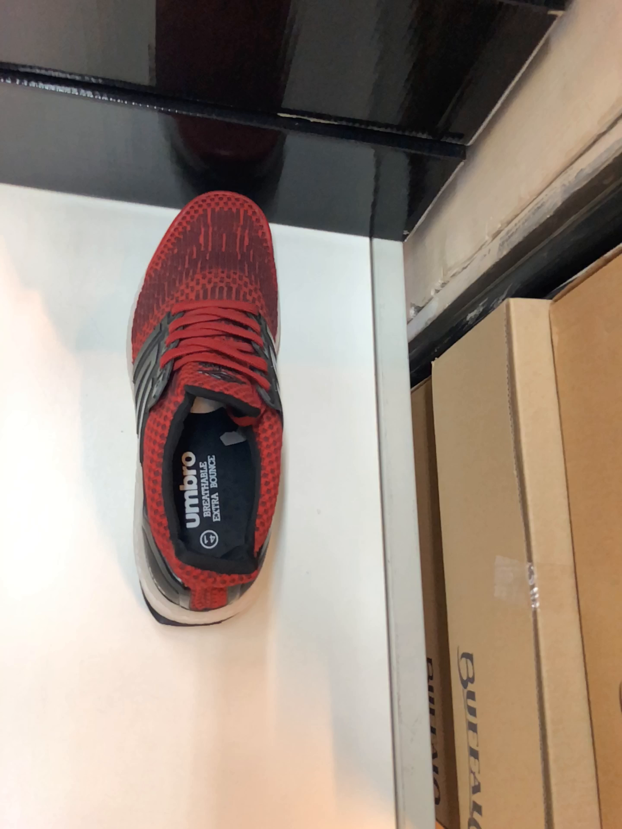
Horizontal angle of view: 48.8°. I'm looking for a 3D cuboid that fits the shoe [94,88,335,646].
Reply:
[{"bbox_3d":[-0.056,-0.022,0.401,0.111,0.108,0.286,3,77,-13],"label":"shoe"}]
